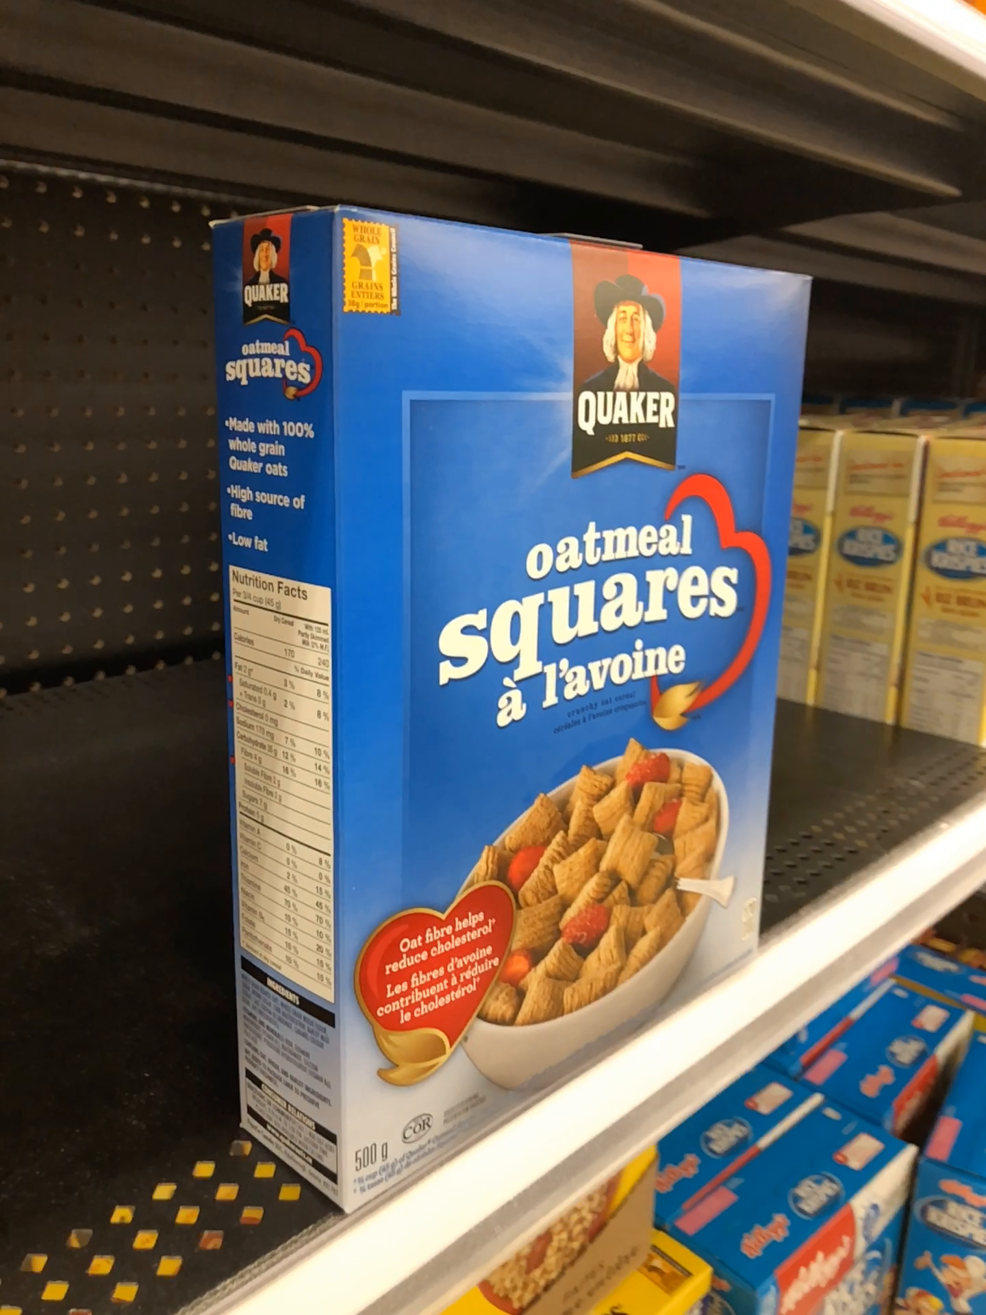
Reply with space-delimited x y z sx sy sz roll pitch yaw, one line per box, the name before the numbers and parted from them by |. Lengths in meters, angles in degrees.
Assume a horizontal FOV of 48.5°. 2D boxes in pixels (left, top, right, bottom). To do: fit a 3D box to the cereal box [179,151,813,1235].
cereal box | 0.011 0.002 0.362 0.060 0.279 0.211 16 21 41
